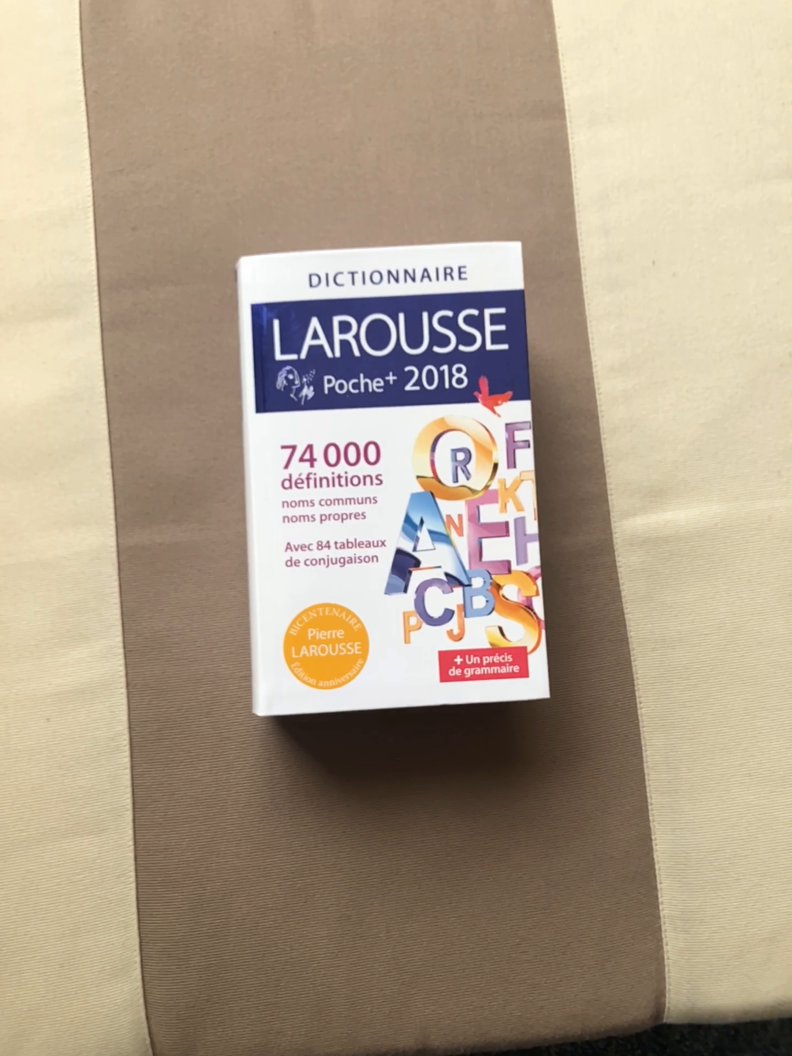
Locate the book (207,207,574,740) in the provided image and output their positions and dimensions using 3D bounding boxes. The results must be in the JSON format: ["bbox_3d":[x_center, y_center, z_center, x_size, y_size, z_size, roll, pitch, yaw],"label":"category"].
[{"bbox_3d":[-0.005,-0.022,0.365,0.130,0.060,0.200,-3,84,-4],"label":"book"}]
